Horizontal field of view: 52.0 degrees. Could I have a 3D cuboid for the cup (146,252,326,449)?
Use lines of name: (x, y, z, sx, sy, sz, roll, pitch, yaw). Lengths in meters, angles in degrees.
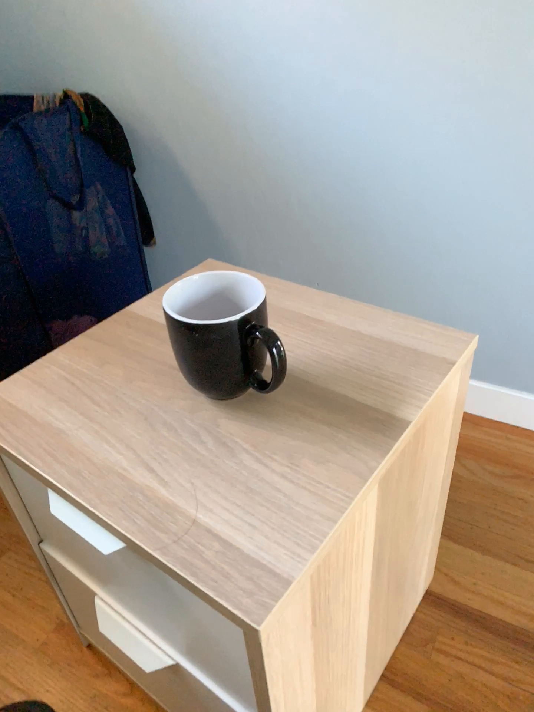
cup: (-0.028, -0.011, 0.543, 0.100, 0.119, 0.141, -31, 43, -31)
